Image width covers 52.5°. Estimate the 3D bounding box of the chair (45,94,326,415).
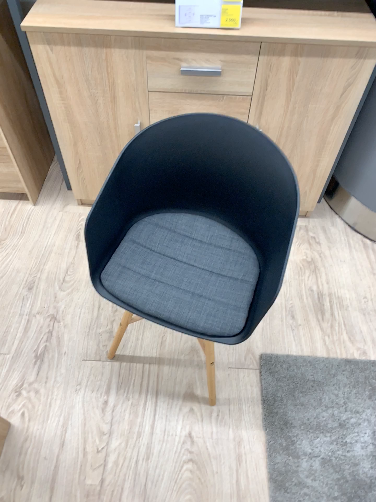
[{"bbox_3d":[0.024,0.055,1.232,0.510,0.787,0.552,18,54,12],"label":"chair"}]
